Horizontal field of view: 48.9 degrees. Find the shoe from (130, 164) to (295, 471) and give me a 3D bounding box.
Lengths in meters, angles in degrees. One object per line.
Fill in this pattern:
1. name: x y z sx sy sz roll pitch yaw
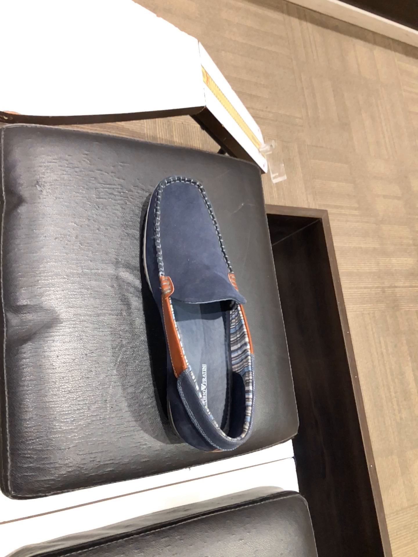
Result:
1. shoe: -0.005 0.038 0.499 0.111 0.099 0.291 0 76 -28
